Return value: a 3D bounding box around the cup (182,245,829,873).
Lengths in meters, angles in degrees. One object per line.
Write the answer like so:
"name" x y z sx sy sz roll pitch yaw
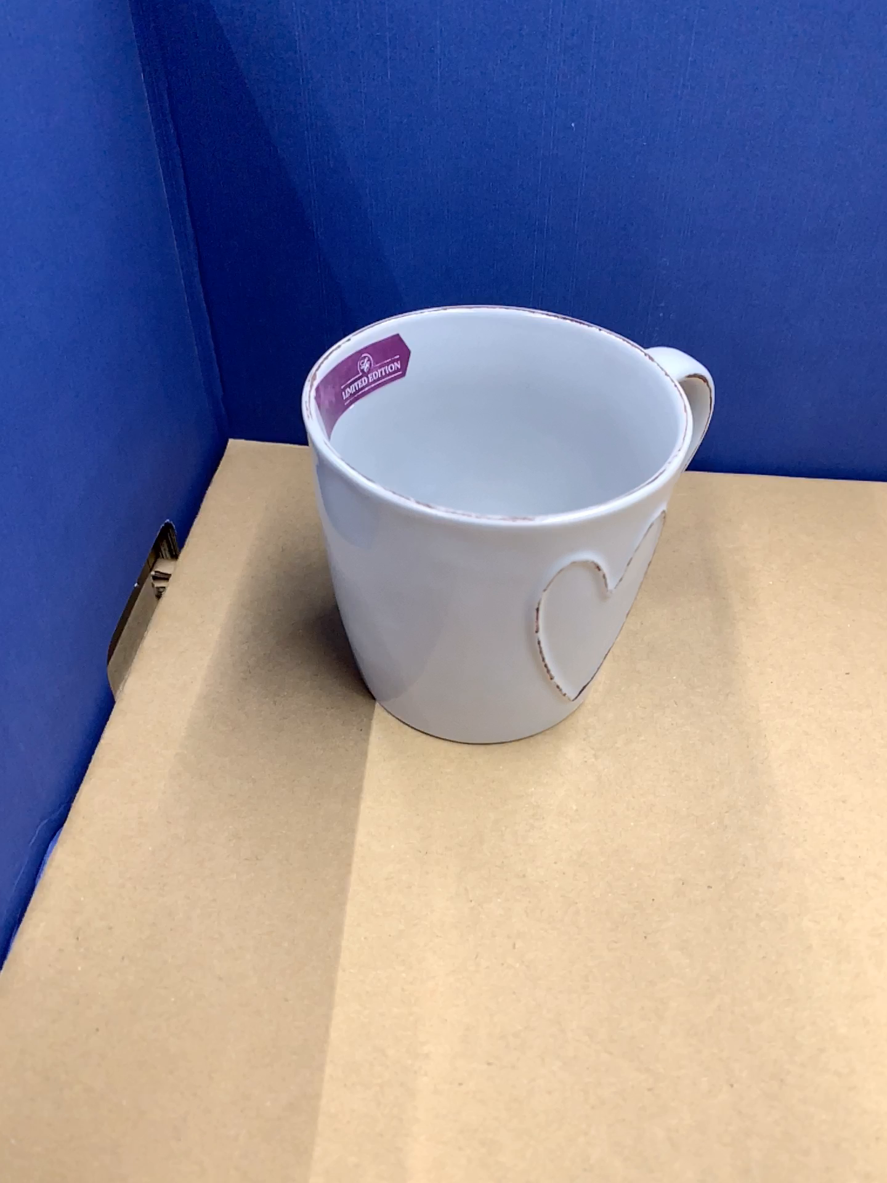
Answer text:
"cup" 0.018 -0.018 0.239 0.091 0.085 0.125 31 50 30
